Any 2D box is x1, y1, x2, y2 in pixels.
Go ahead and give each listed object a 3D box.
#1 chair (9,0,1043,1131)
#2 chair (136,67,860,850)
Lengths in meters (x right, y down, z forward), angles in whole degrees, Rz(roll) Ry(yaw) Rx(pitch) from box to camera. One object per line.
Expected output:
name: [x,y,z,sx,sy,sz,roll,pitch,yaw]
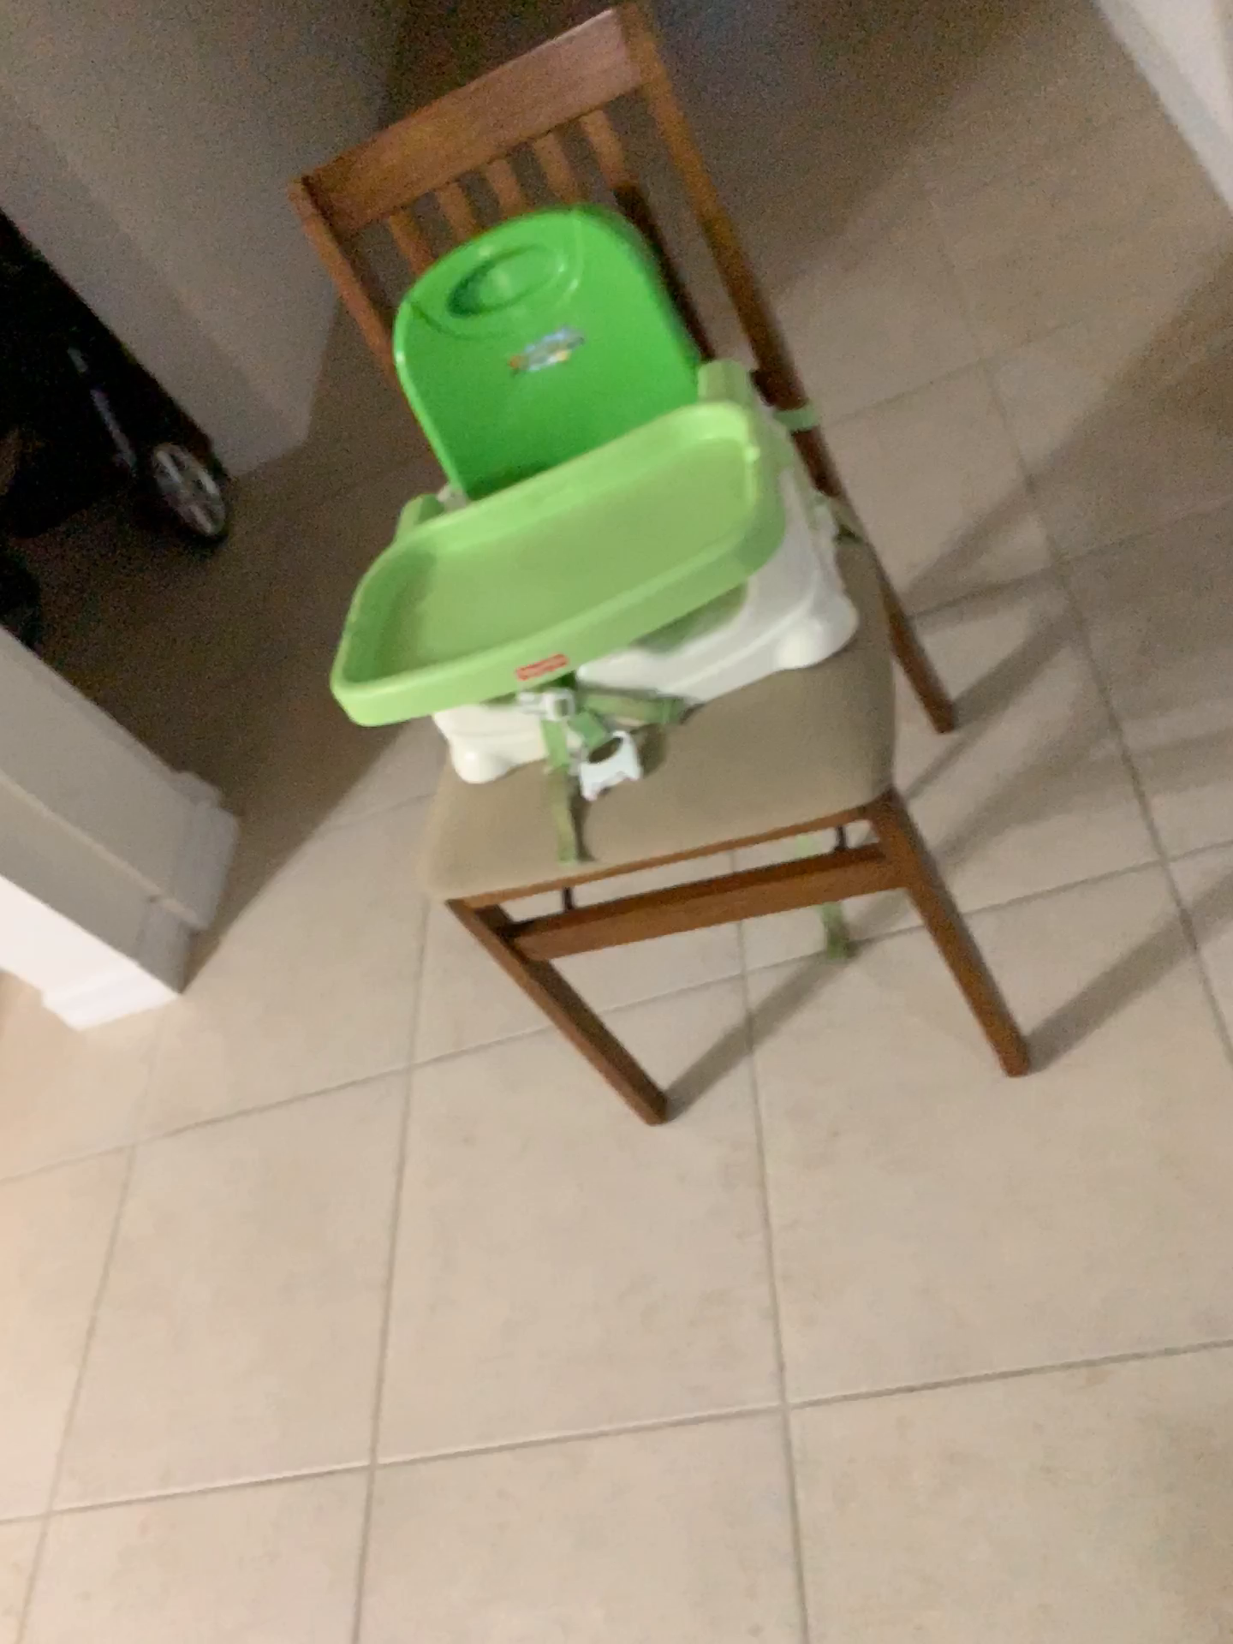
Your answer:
chair: [0.033,-0.170,1.202,0.455,0.883,0.558,-14,49,25]
chair: [-0.069,-0.273,1.029,0.404,0.328,0.387,-17,48,22]
